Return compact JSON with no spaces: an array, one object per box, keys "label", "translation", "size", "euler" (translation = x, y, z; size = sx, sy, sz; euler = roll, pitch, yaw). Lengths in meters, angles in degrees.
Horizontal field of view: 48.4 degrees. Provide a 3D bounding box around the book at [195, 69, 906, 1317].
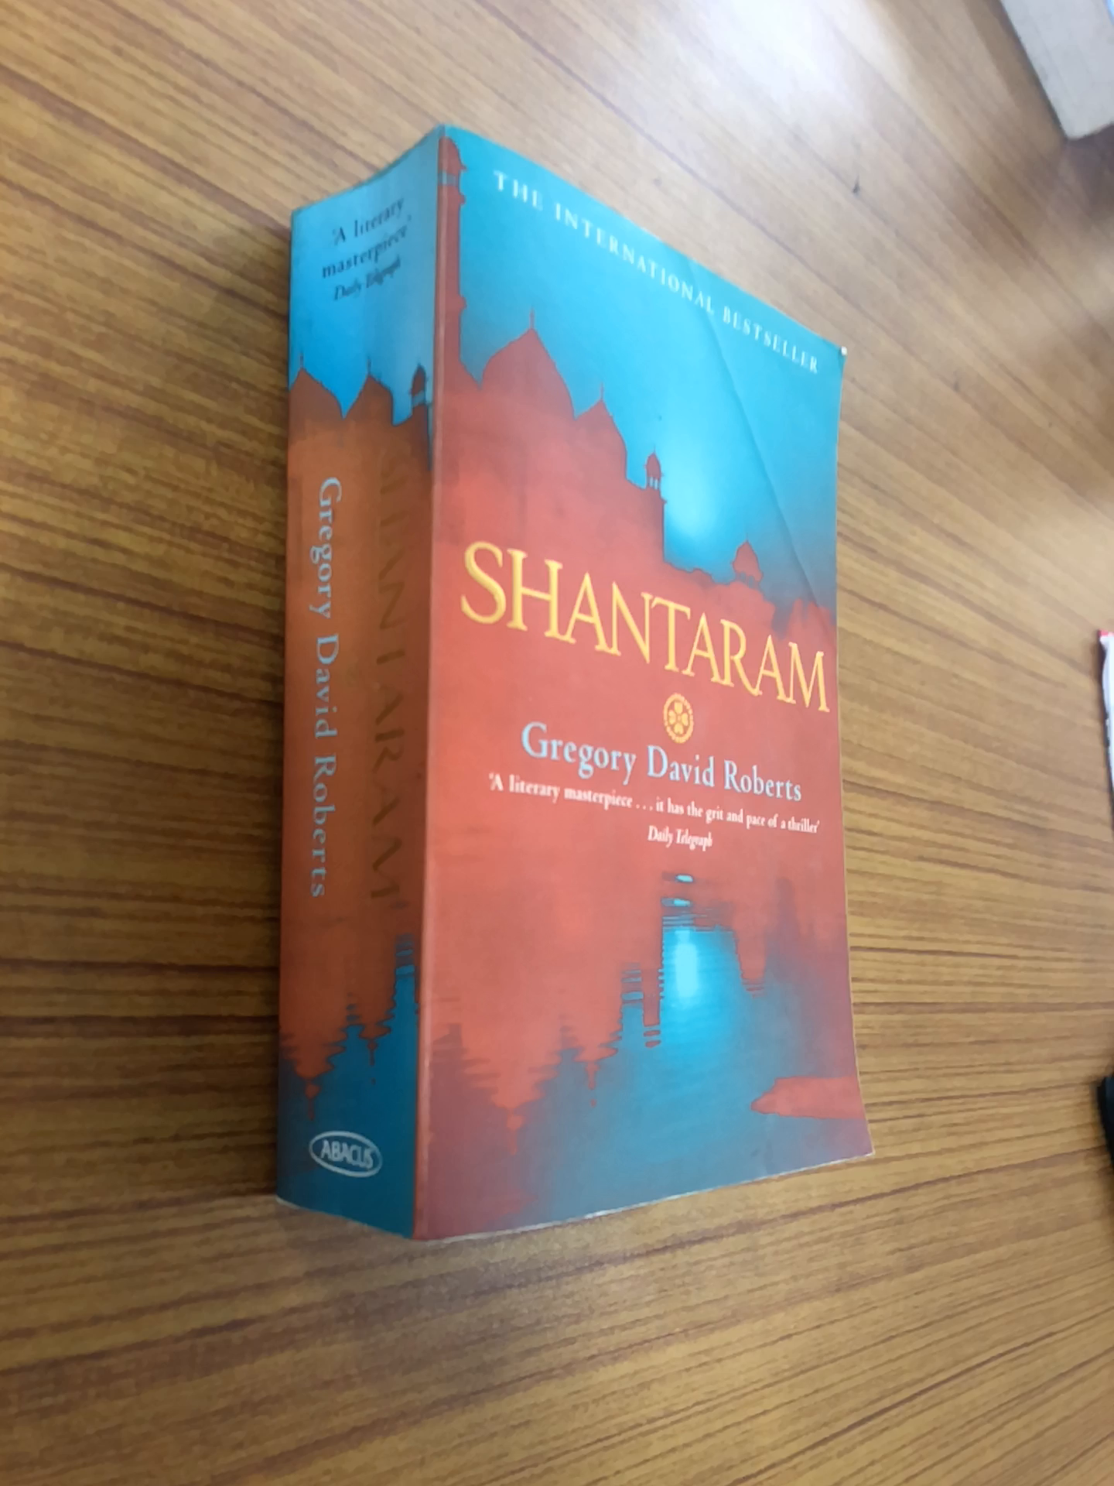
[{"label":"book","translation":[0.009,-0.004,0.257],"size":[0.151,0.050,0.190],"euler":[9,77,-47]}]
